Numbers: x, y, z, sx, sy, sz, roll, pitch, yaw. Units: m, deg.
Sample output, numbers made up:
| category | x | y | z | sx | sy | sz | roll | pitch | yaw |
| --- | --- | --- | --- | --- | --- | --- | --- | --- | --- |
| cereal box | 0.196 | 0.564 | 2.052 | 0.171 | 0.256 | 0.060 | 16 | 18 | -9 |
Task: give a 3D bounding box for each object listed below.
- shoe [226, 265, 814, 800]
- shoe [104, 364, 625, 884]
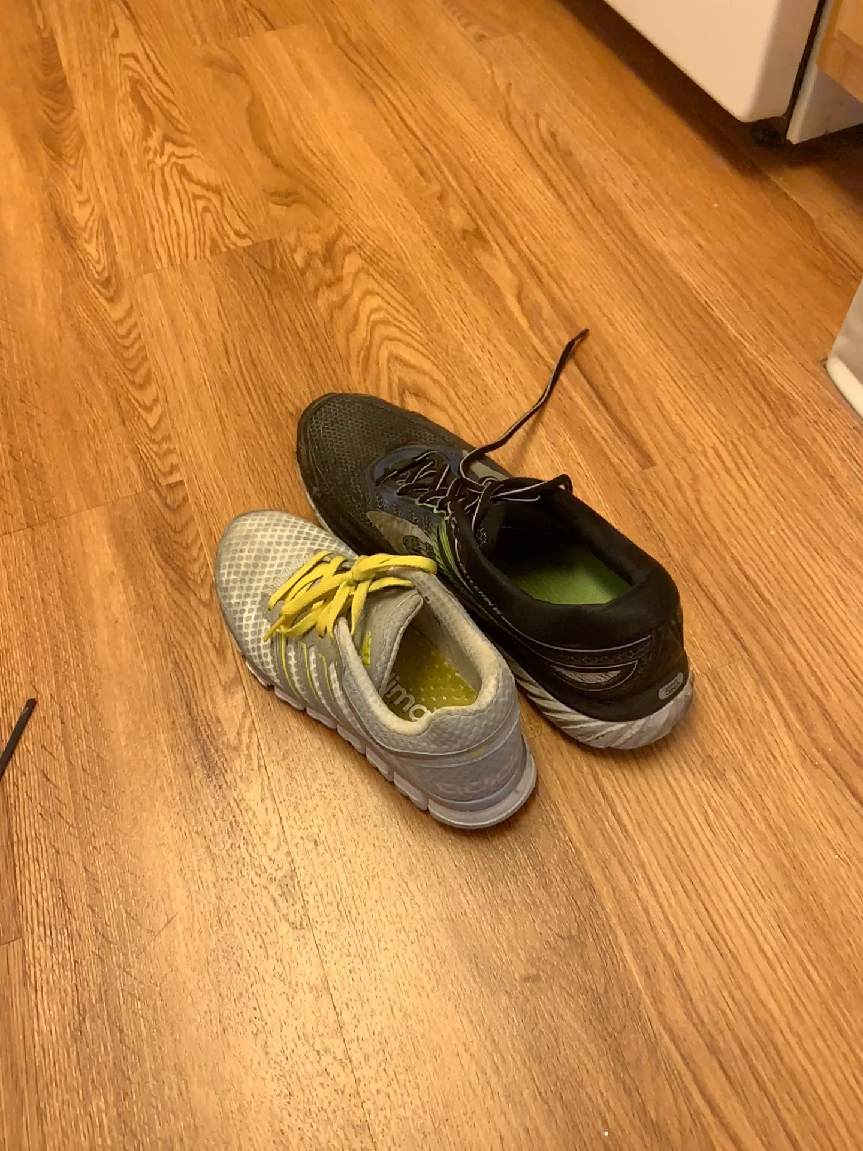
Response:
| category | x | y | z | sx | sy | sz | roll | pitch | yaw |
| --- | --- | --- | --- | --- | --- | --- | --- | --- | --- |
| shoe | 0.032 | -0.035 | 0.483 | 0.110 | 0.110 | 0.291 | -40 | 62 | -21 |
| shoe | -0.039 | 0.017 | 0.457 | 0.100 | 0.110 | 0.251 | -40 | 63 | -21 |
